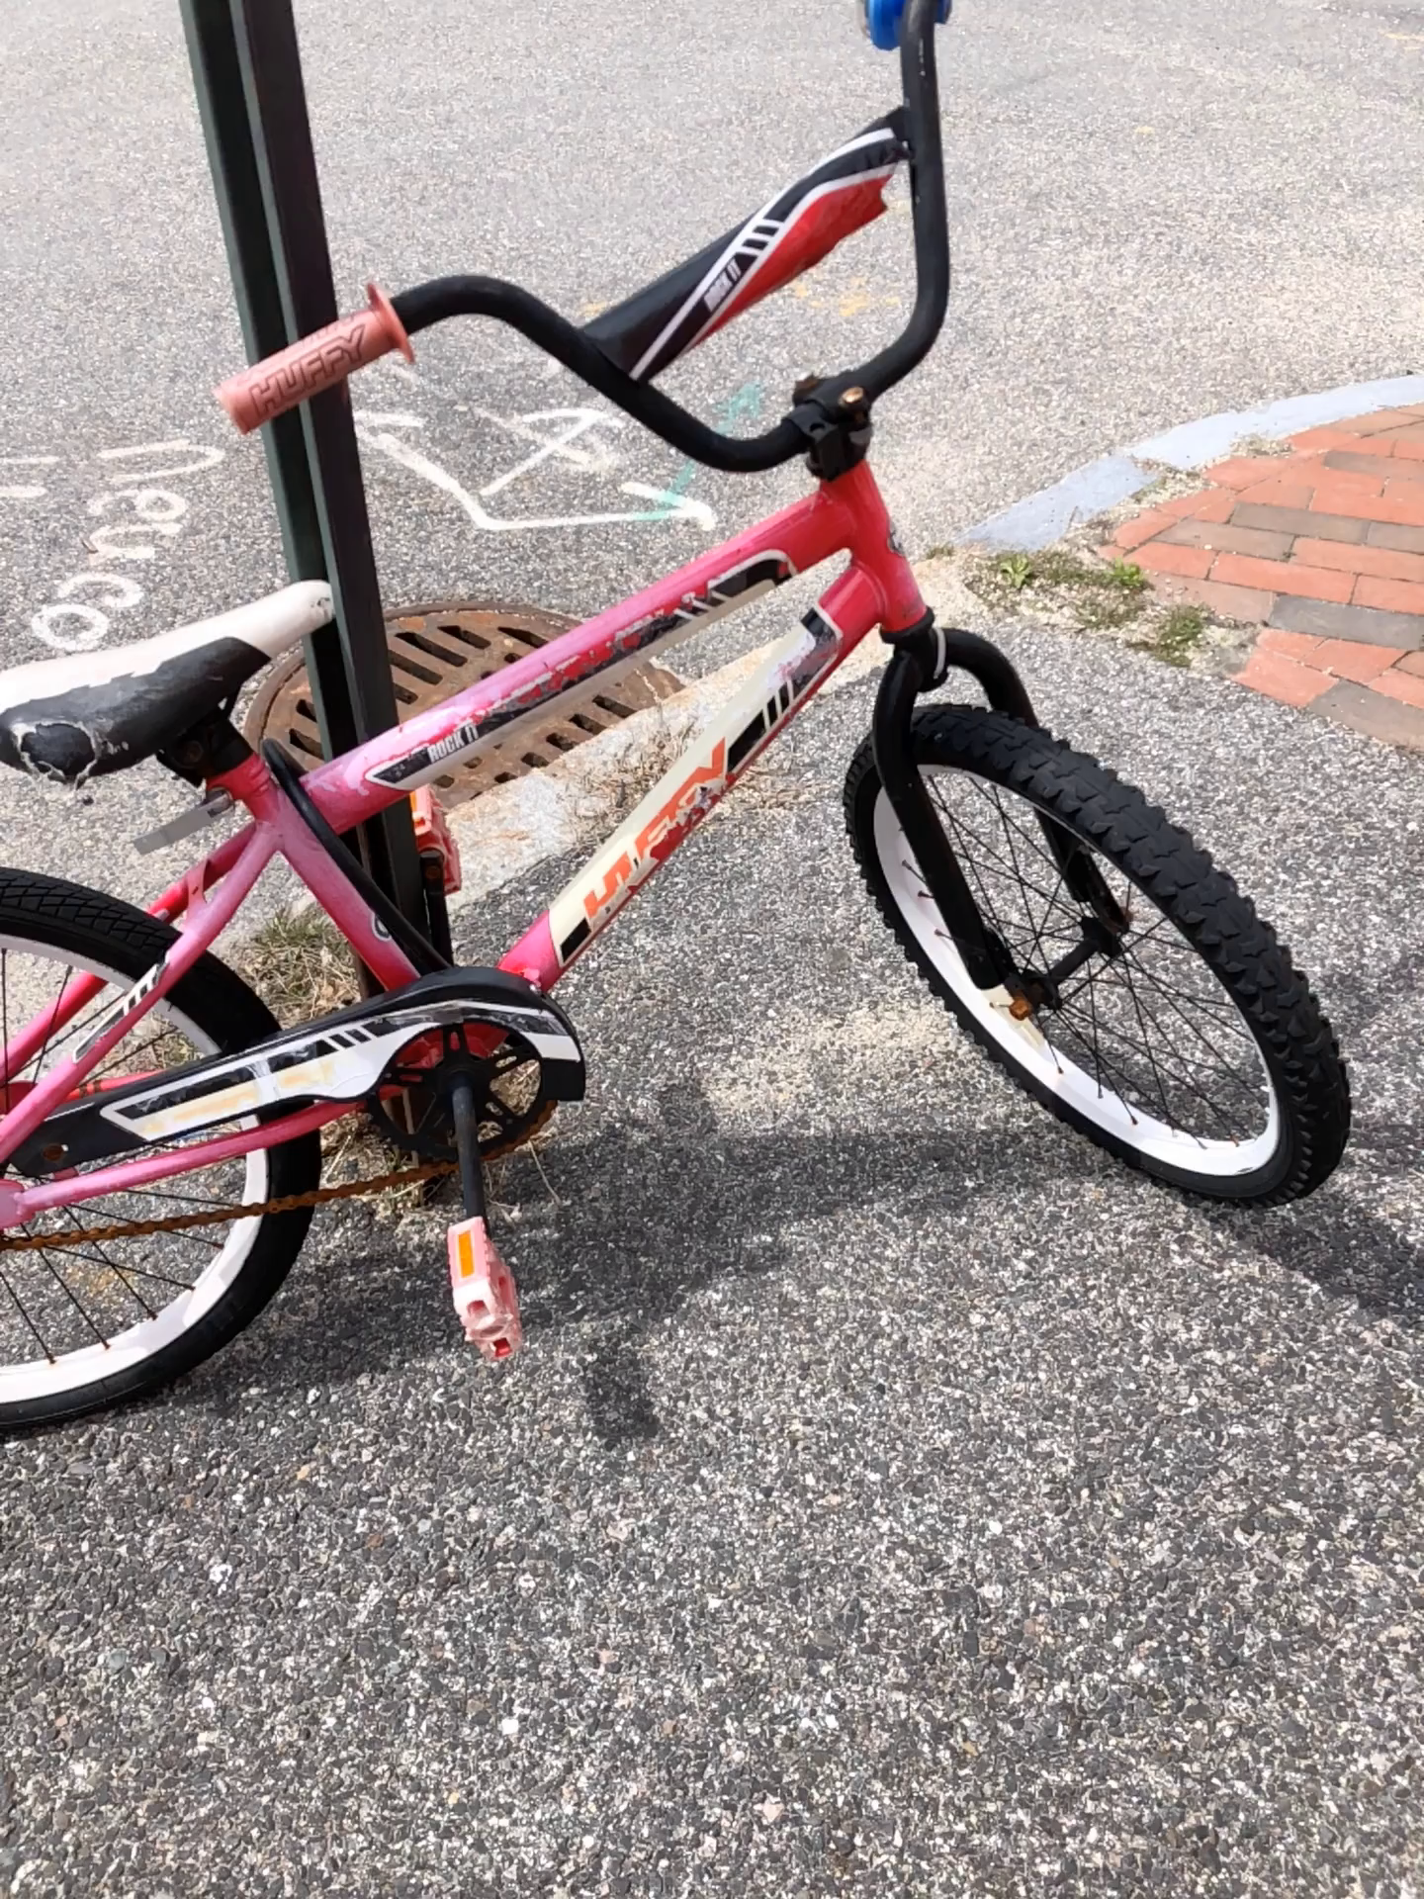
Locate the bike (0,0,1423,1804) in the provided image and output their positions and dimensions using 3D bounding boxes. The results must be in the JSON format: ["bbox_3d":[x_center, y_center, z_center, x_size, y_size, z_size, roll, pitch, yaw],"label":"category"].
[{"bbox_3d":[-0.168,-0.070,0.910,1.176,0.887,0.699,-6,45,-6],"label":"bike"}]
